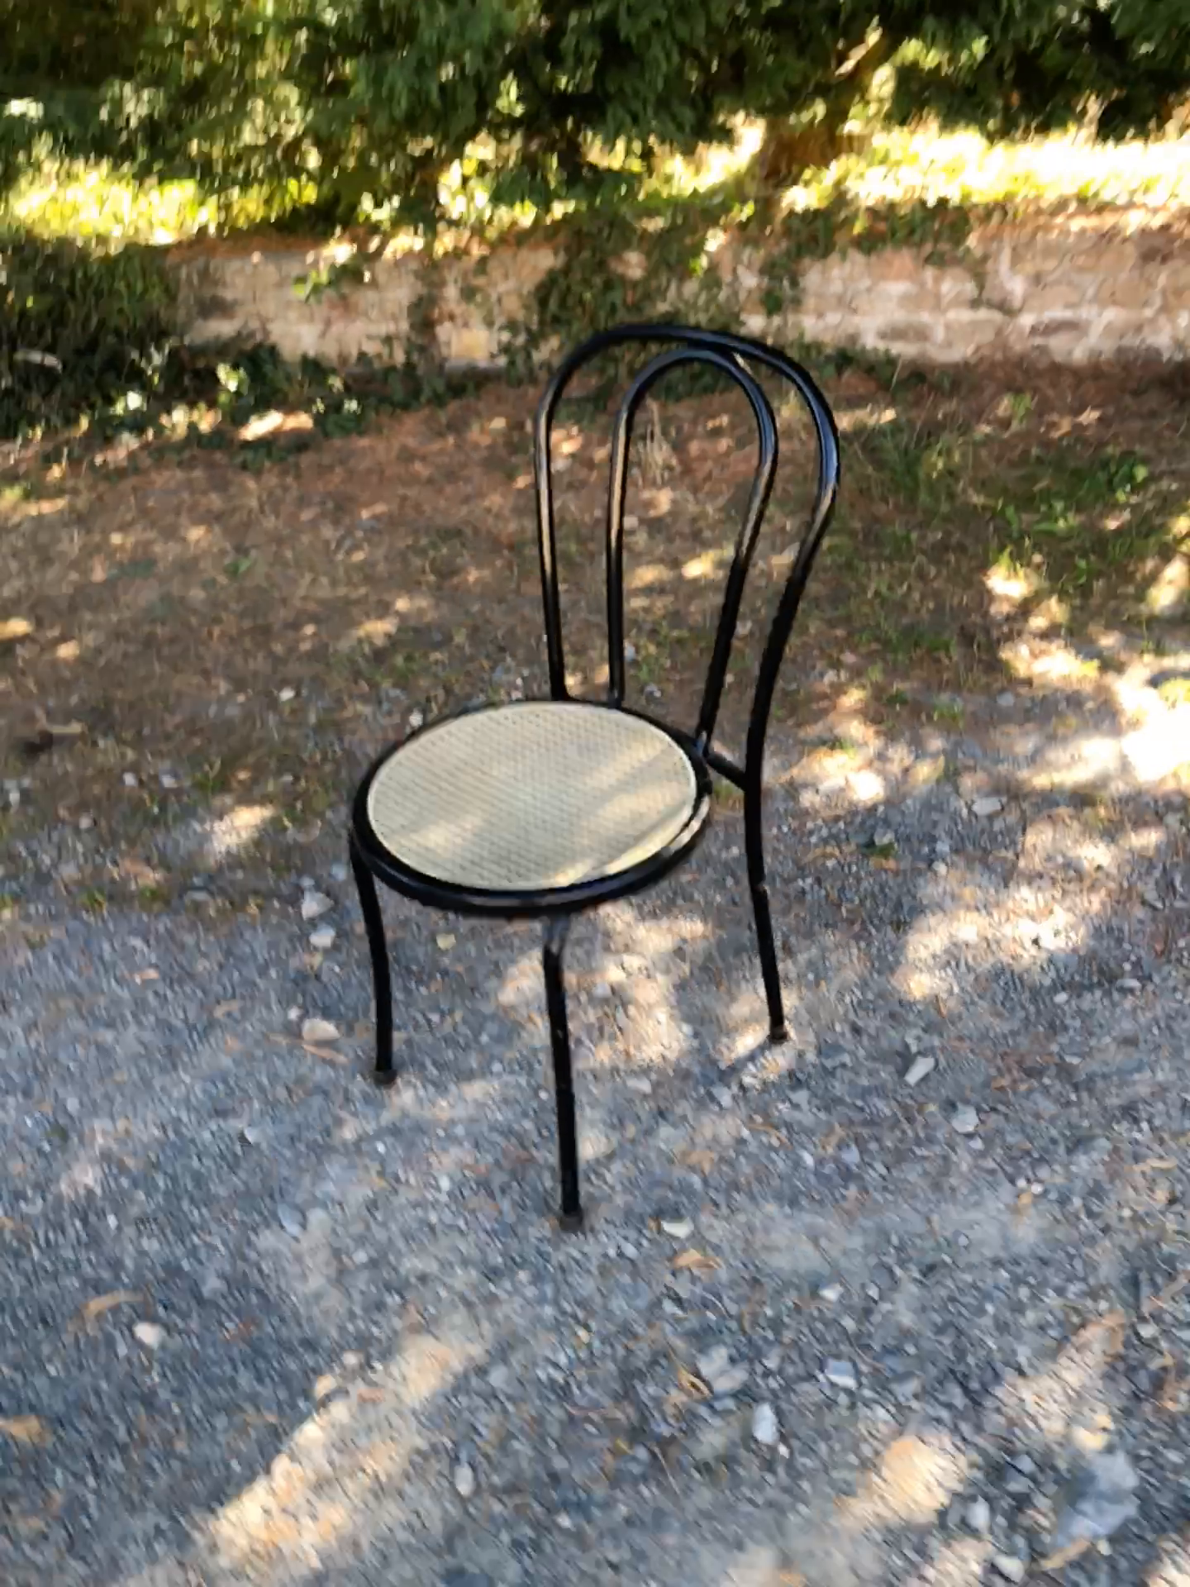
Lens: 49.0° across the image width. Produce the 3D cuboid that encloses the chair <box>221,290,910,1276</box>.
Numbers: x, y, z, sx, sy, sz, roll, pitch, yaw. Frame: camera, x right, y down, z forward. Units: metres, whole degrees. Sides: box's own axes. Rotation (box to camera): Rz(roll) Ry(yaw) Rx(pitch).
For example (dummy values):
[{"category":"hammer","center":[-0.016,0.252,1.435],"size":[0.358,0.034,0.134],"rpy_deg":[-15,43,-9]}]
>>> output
[{"category":"chair","center":[-0.008,-0.028,1.432],"size":[0.430,0.875,0.472],"rpy_deg":[25,40,36]}]
